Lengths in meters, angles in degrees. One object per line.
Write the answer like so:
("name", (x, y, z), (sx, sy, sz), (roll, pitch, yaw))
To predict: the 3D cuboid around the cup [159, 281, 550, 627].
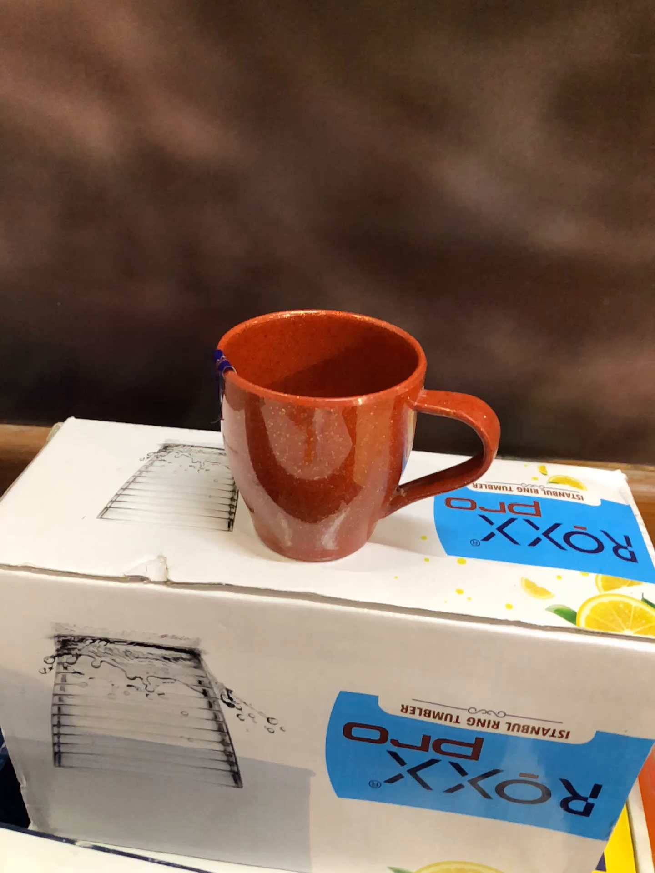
("cup", (0.012, -0.001, 0.236), (0.100, 0.070, 0.070), (10, 31, 18))
